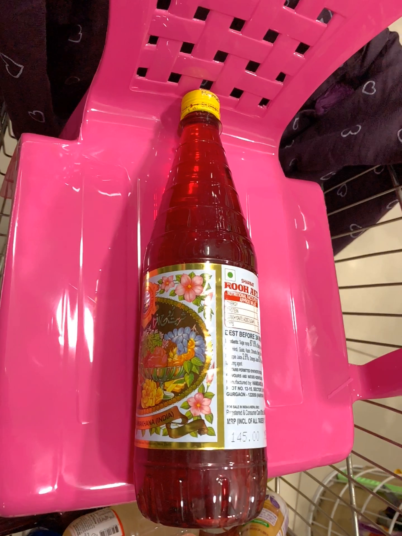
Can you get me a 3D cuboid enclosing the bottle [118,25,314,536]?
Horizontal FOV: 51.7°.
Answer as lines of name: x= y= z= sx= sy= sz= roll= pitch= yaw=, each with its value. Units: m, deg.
bottle: x=0.014 y=0.008 z=0.241 sx=0.080 sy=0.060 sz=0.260 roll=13 pitch=73 yaw=-38
